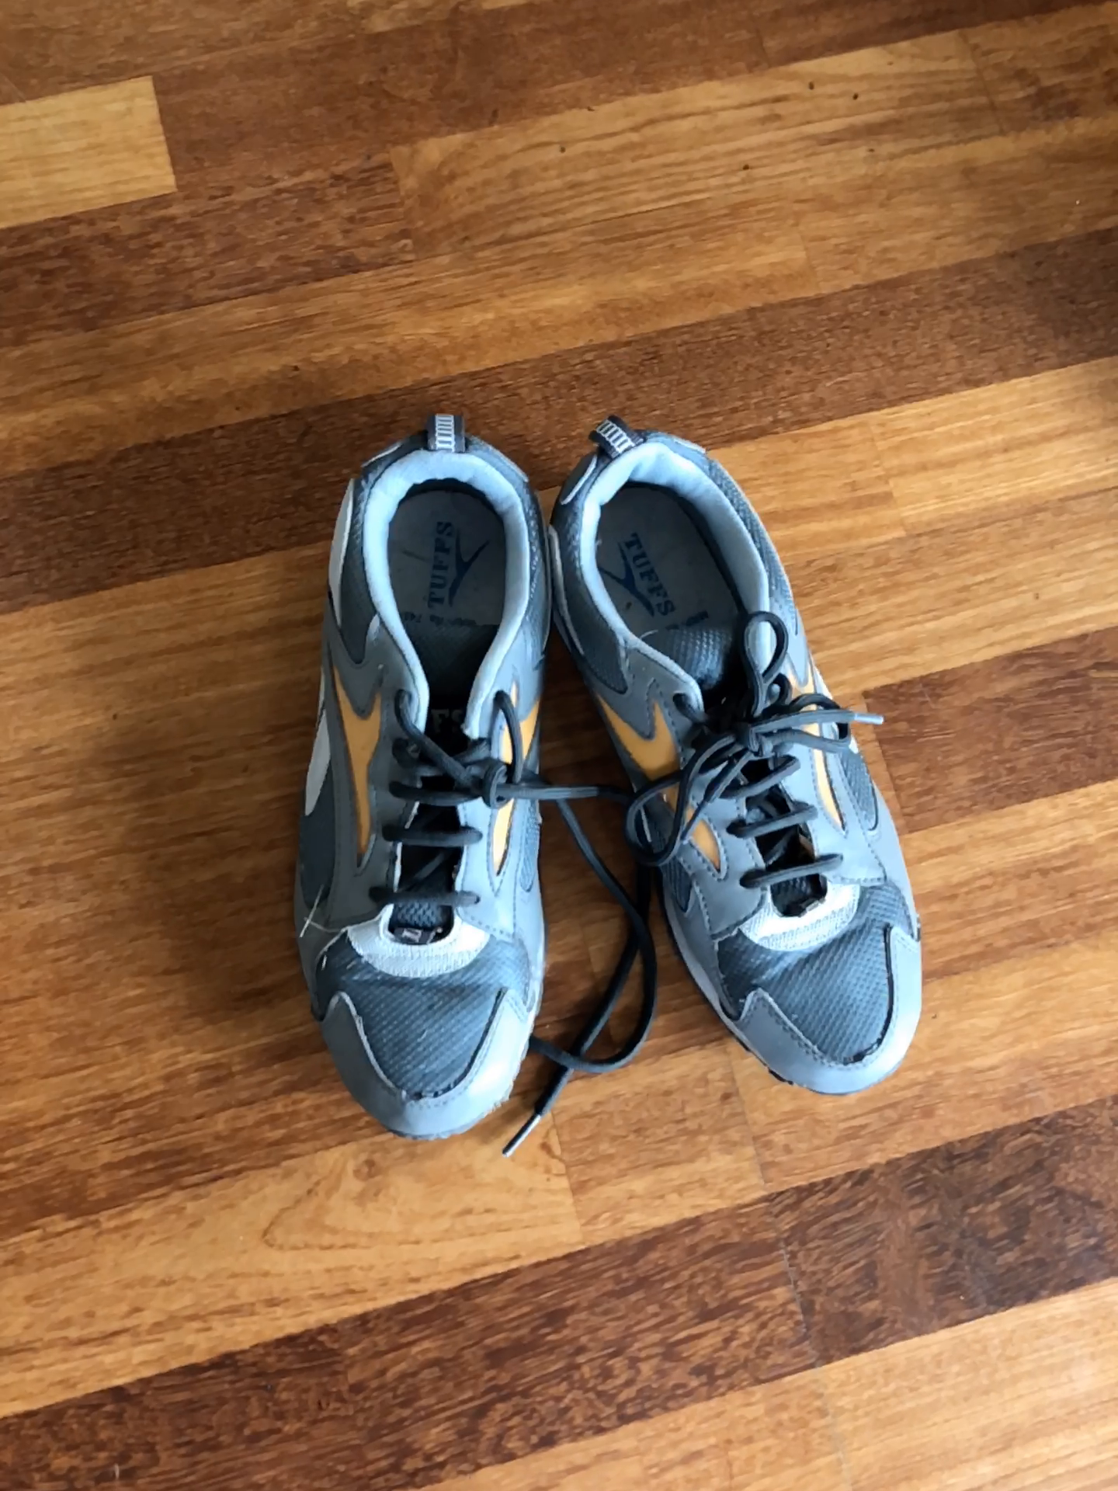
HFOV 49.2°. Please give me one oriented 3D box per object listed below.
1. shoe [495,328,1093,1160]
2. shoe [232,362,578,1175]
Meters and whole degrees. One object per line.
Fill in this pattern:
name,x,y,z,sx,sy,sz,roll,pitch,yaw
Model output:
shoe,0.076,-0.002,0.482,0.112,0.099,0.283,-19,78,-9
shoe,-0.052,0.008,0.464,0.110,0.088,0.283,1,77,-5
